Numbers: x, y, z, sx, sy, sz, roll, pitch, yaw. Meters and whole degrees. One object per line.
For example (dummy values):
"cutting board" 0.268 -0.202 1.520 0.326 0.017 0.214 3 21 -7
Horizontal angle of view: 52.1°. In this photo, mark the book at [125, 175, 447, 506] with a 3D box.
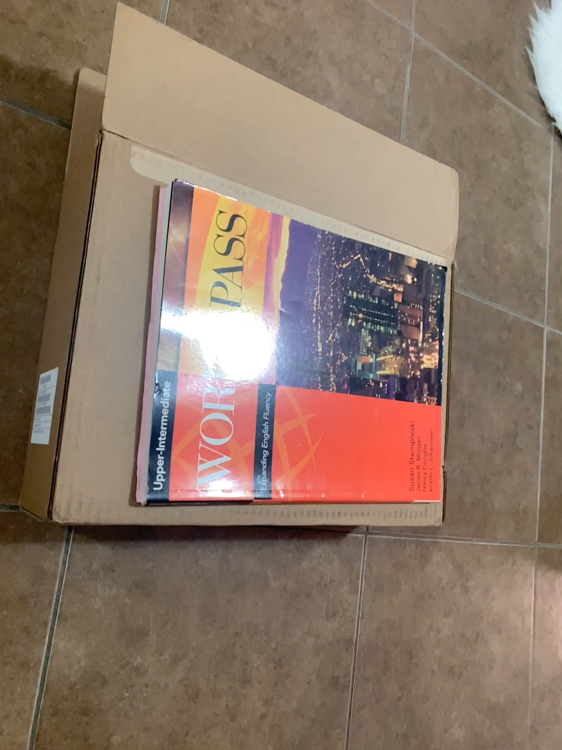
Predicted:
"book" 0.026 -0.009 0.440 0.271 0.018 0.211 8 81 -33
